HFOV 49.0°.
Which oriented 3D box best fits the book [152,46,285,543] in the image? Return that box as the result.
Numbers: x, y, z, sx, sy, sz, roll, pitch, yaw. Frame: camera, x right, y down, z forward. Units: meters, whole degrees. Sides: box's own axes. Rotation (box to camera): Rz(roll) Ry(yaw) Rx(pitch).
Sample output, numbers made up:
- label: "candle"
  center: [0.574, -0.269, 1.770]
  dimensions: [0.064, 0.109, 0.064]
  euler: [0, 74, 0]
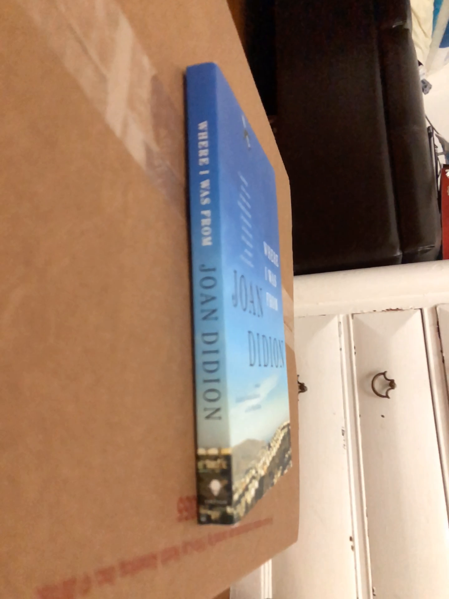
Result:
- label: "book"
  center: [0.003, 0.000, 0.275]
  dimensions: [0.140, 0.020, 0.210]
  euler: [24, 61, -71]
